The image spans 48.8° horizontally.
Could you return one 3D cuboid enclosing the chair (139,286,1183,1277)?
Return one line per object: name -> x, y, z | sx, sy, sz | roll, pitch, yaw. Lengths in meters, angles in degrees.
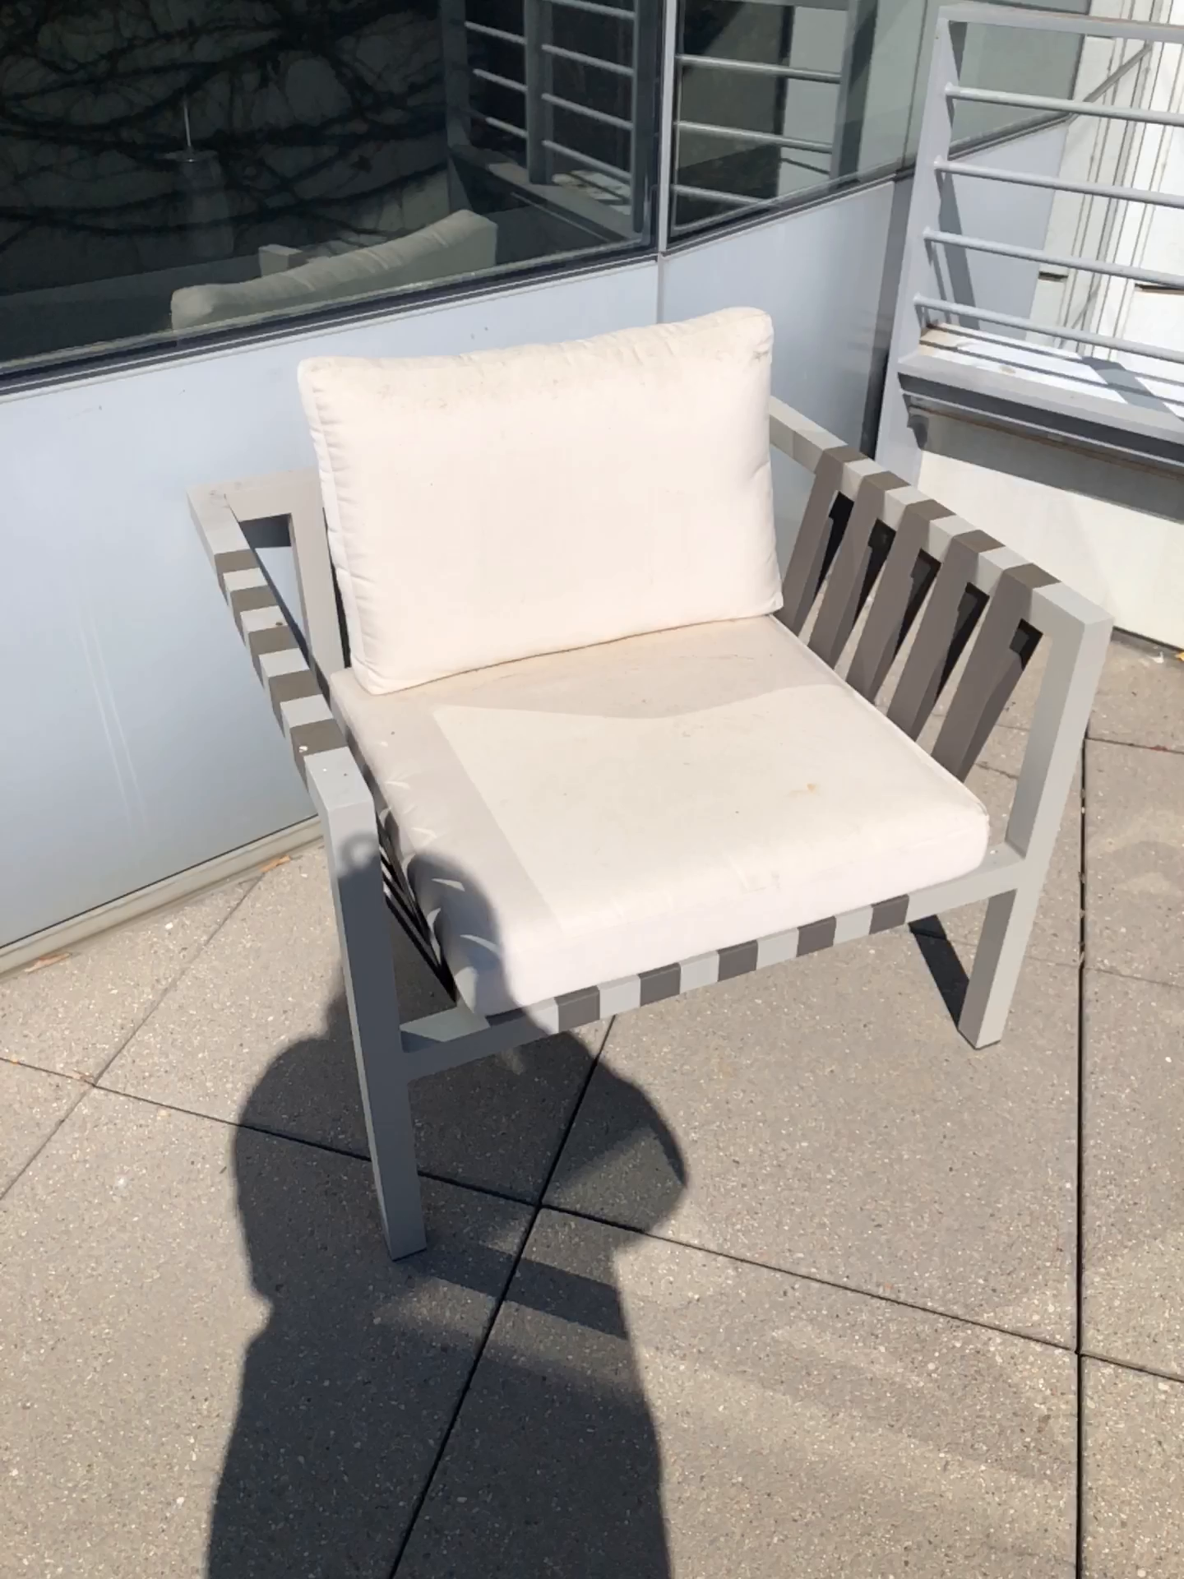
chair -> 0.020, -0.095, 1.607 | 0.870, 0.736, 0.784 | -14, 38, -20
